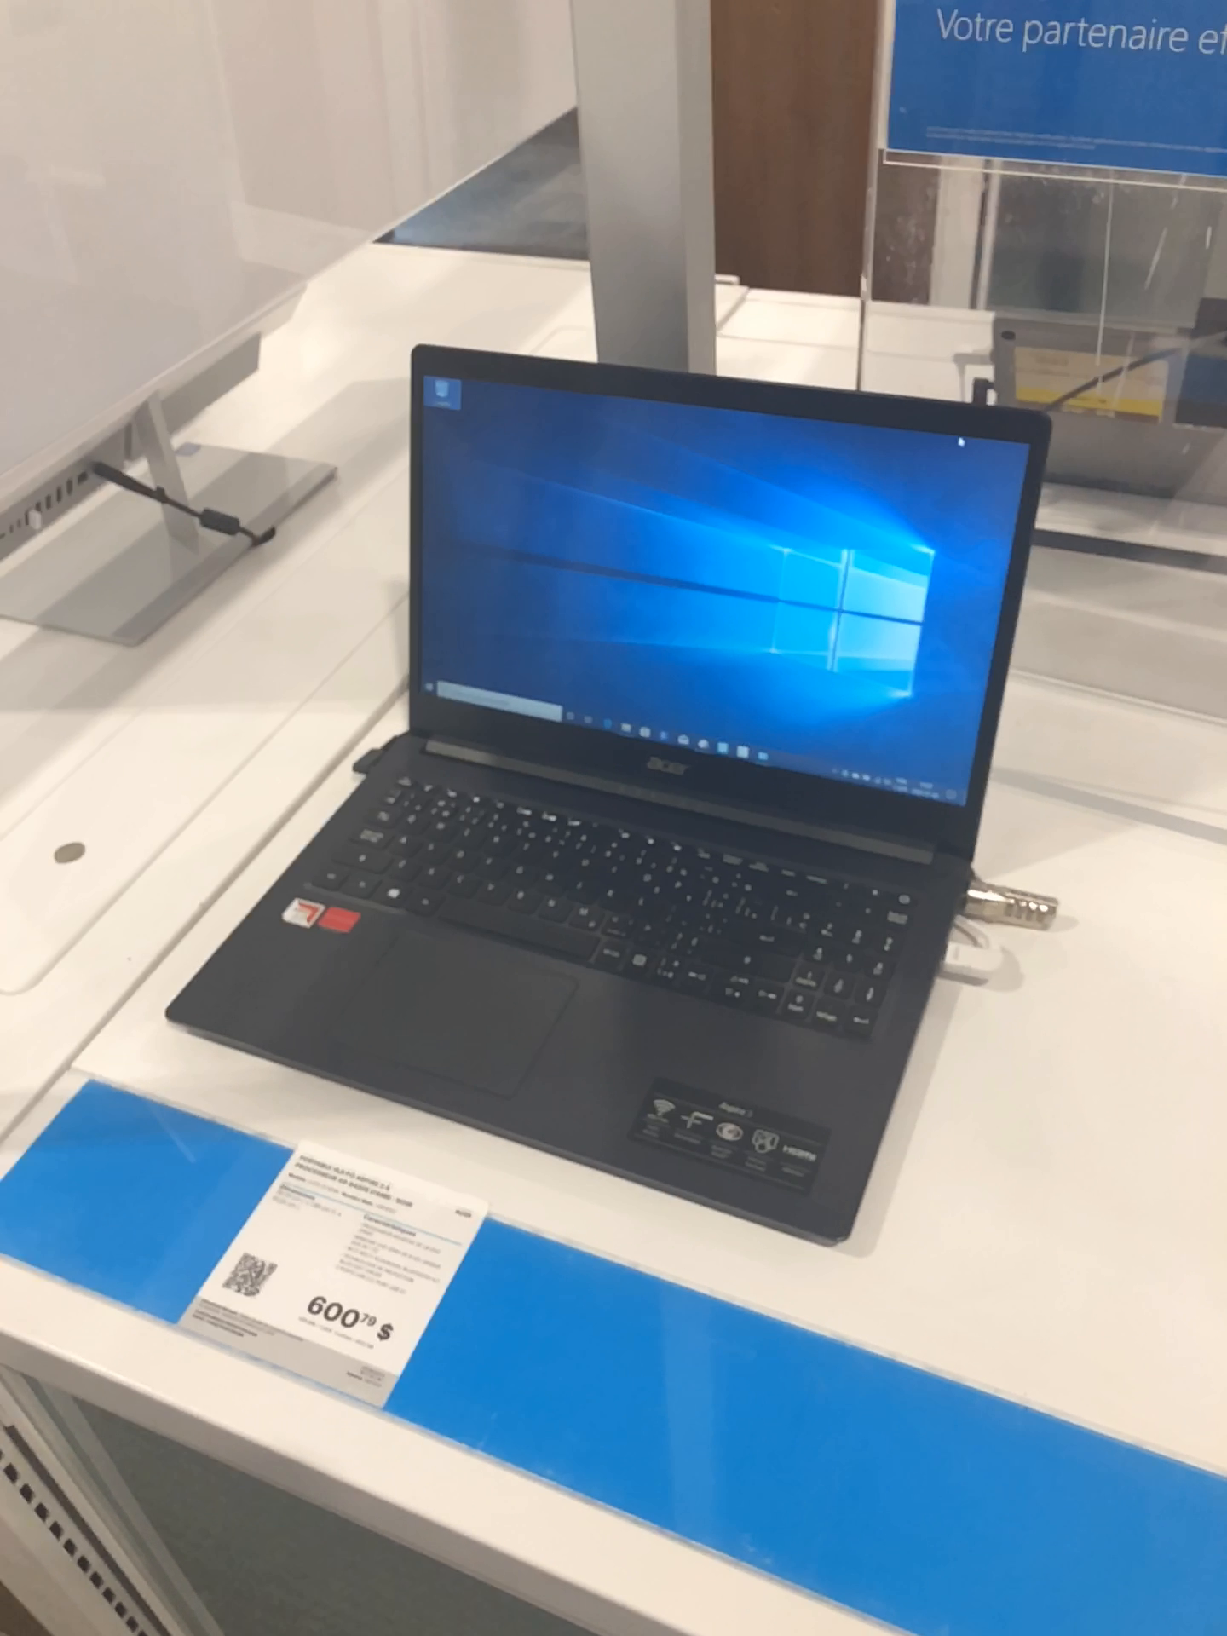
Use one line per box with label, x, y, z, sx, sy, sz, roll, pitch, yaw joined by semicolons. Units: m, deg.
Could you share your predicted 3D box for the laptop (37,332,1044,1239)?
laptop;-0.009;-0.053;0.706;0.367;0.212;0.351;13;46;20
